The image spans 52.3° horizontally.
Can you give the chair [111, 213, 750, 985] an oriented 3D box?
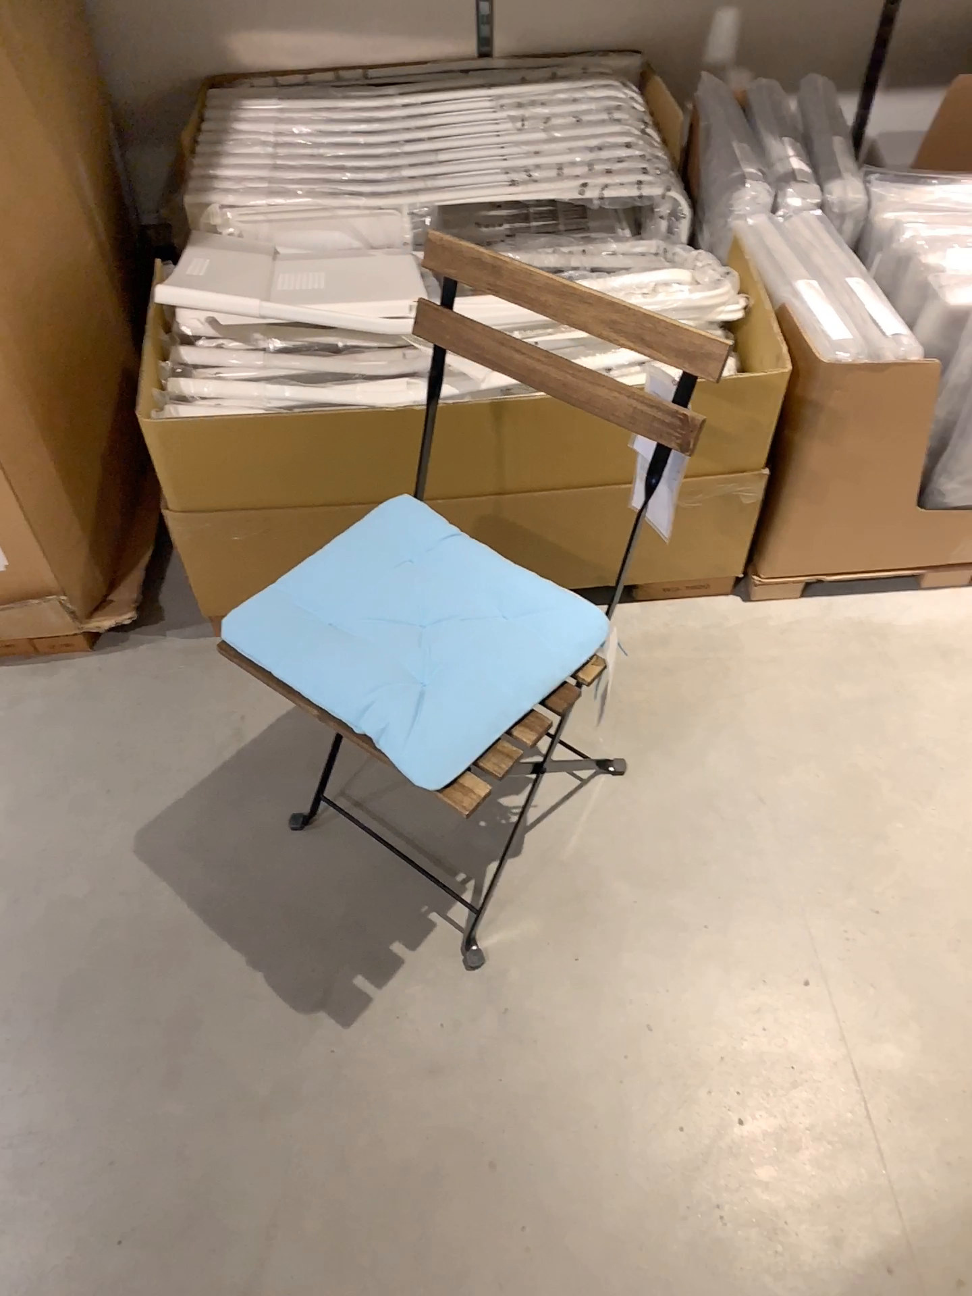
[{"bbox_3d":[-0.034,-0.026,1.215,0.401,0.738,0.461,30,57,24],"label":"chair"}]
